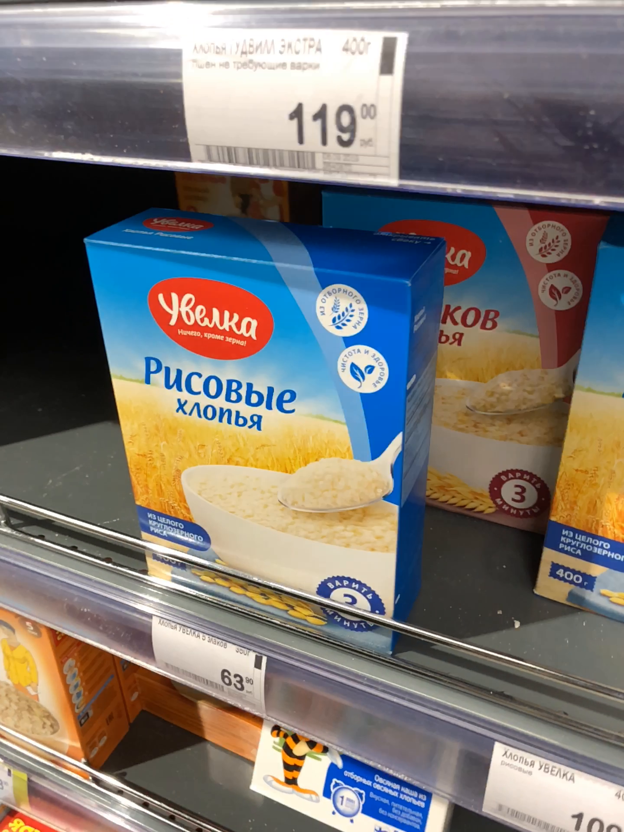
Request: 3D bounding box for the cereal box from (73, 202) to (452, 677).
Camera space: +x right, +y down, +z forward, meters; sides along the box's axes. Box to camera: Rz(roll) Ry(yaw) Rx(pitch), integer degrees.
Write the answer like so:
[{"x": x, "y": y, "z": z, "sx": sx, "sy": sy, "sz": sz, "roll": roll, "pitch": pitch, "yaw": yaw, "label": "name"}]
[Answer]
[{"x": -0.018, "y": 0.012, "z": 0.328, "sx": 0.140, "sy": 0.199, "sz": 0.060, "roll": 11, "pitch": 33, "yaw": 20, "label": "cereal box"}]
